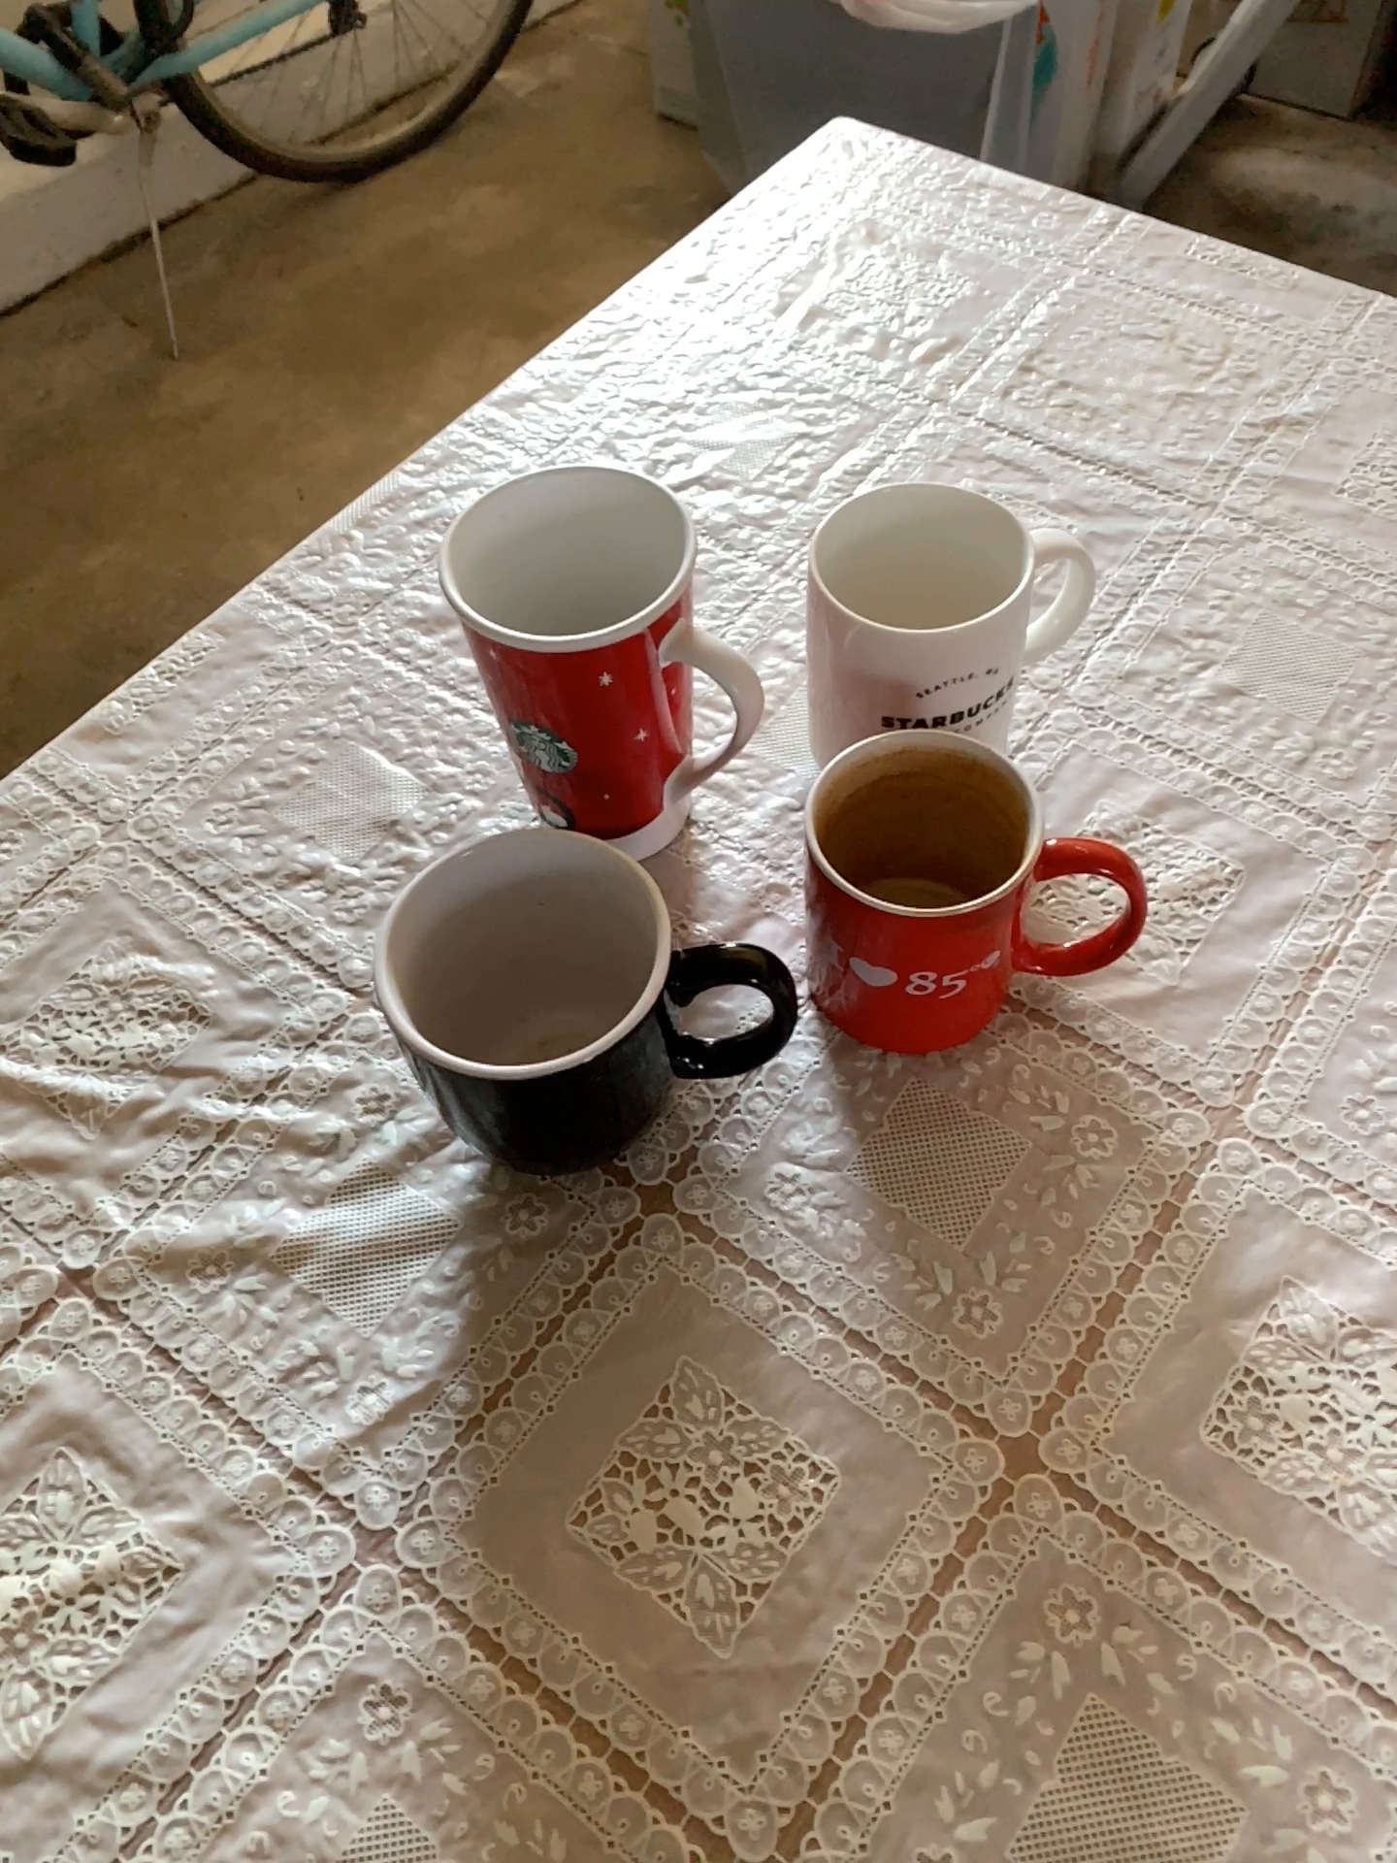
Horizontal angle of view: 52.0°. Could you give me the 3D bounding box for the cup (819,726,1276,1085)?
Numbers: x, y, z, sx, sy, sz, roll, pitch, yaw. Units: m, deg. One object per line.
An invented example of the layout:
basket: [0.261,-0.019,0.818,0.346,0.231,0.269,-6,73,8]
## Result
cup: [0.109,-0.007,0.489,0.130,0.090,0.080,-2,56,3]

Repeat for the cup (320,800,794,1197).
cup: [-0.045,0.026,0.517,0.150,0.090,0.100,-4,56,1]

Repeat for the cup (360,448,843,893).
cup: [-0.030,-0.099,0.537,0.140,0.090,0.100,18,59,15]

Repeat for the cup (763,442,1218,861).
cup: [0.110,-0.113,0.578,0.140,0.090,0.100,-17,56,-7]
